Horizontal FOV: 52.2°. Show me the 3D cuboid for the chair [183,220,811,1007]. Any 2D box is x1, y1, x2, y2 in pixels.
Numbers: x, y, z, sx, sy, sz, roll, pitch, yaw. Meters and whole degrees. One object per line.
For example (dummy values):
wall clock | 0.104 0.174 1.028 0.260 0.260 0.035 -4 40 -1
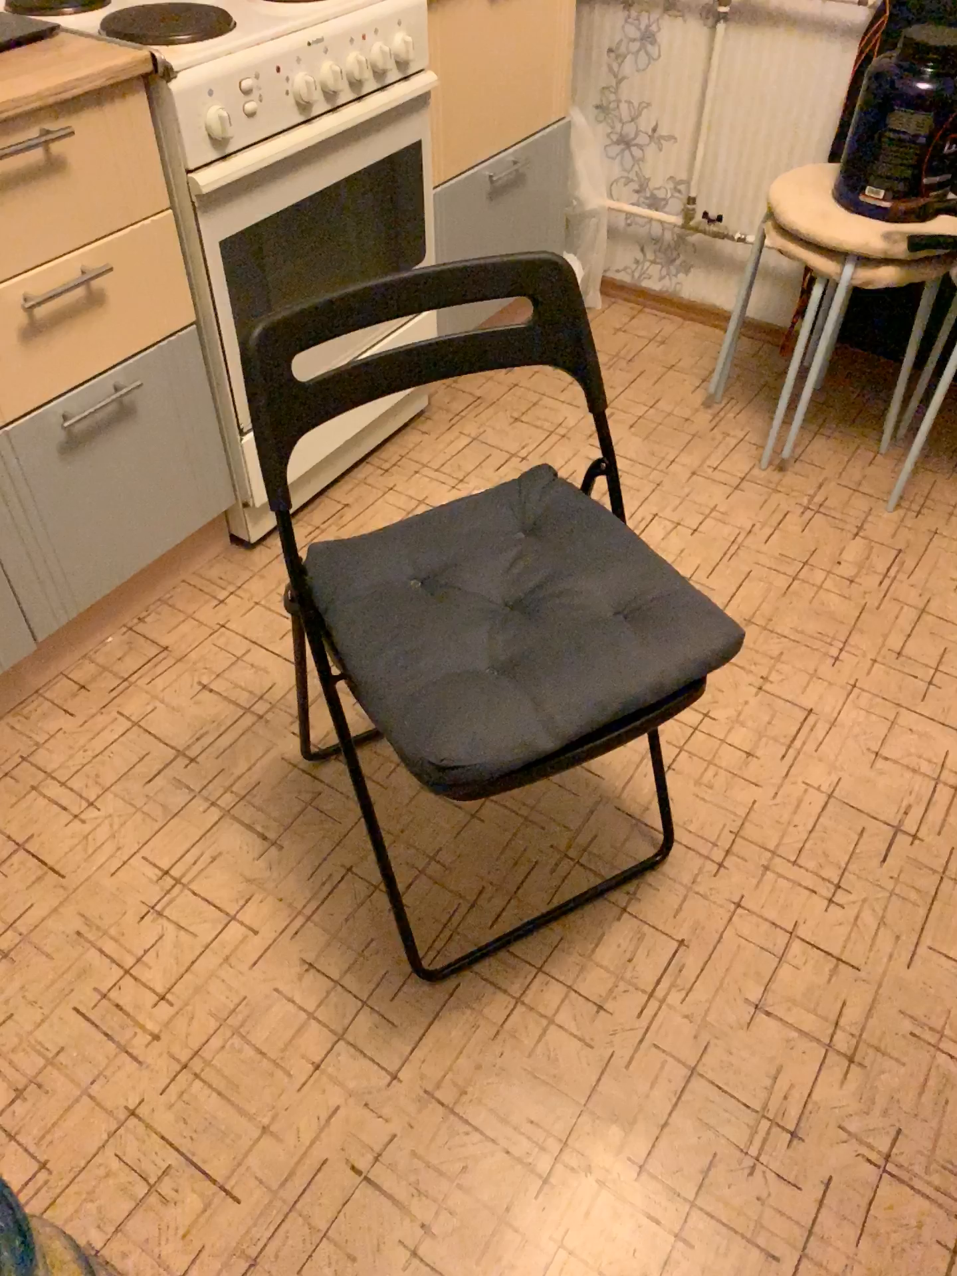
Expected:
chair | -0.004 -0.013 1.247 0.441 0.776 0.482 -23 49 -21
